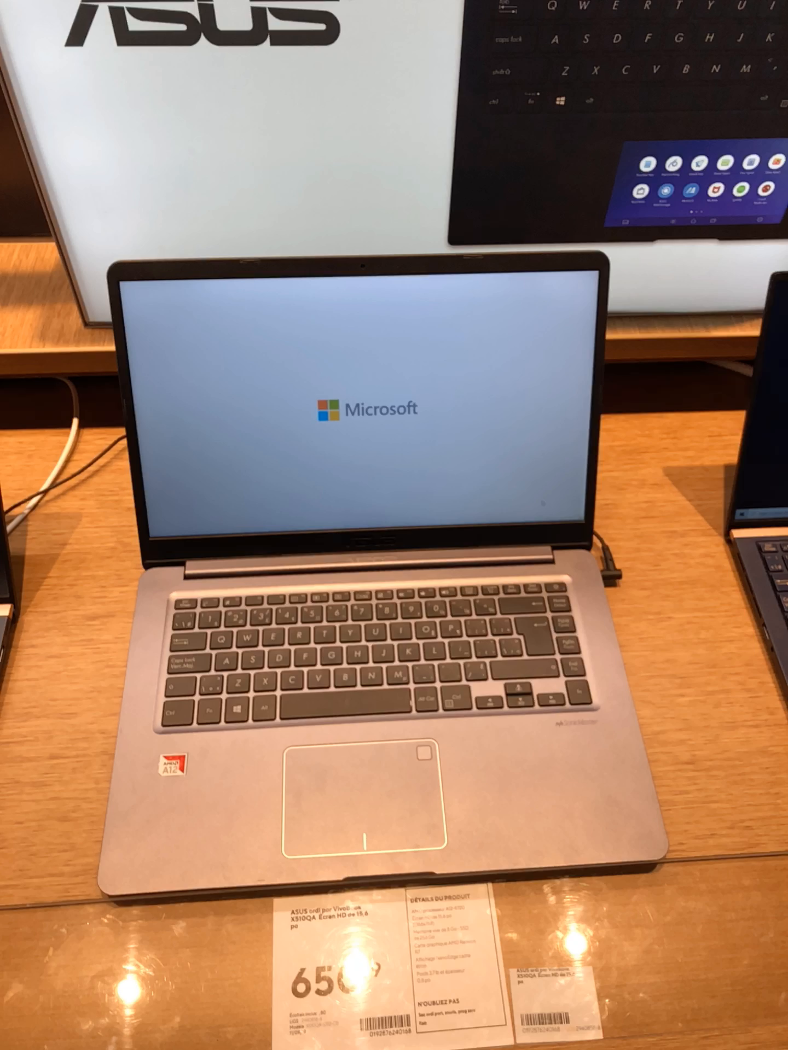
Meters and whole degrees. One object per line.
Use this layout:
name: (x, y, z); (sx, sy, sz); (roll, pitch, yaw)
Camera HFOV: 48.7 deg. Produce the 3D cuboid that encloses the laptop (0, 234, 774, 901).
laptop: (-0.015, 0.007, 0.577); (0.352, 0.177, 0.391); (-2, 54, -4)
